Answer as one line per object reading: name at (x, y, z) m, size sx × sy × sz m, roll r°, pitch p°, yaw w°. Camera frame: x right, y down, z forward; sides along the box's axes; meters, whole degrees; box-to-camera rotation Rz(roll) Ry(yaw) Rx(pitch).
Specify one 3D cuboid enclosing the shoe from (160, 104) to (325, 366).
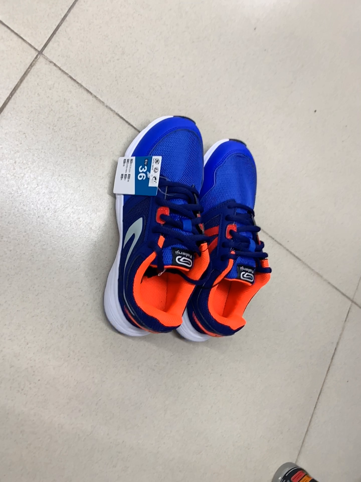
shoe at (0.067, -0.003, 0.423) m, size 0.090 × 0.120 × 0.250 m, roll 13°, pitch 85°, yaw -31°

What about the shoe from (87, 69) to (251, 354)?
shoe at (-0.017, -0.023, 0.394) m, size 0.090 × 0.120 × 0.250 m, roll 11°, pitch 86°, yaw -31°
